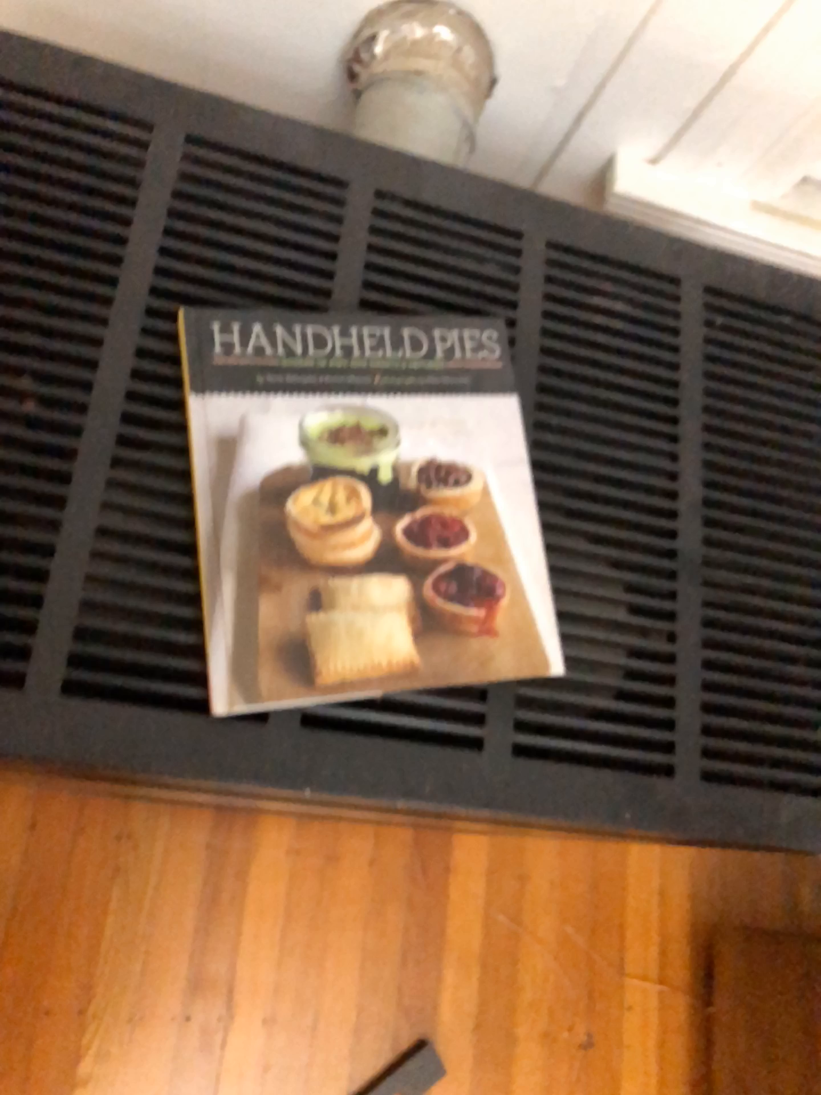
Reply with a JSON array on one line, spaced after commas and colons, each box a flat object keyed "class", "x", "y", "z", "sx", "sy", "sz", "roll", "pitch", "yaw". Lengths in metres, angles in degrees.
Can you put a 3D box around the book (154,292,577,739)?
[{"class": "book", "x": -0.026, "y": -0.027, "z": 0.490, "sx": 0.200, "sy": 0.020, "sz": 0.230, "roll": -4, "pitch": 75, "yaw": -18}]
